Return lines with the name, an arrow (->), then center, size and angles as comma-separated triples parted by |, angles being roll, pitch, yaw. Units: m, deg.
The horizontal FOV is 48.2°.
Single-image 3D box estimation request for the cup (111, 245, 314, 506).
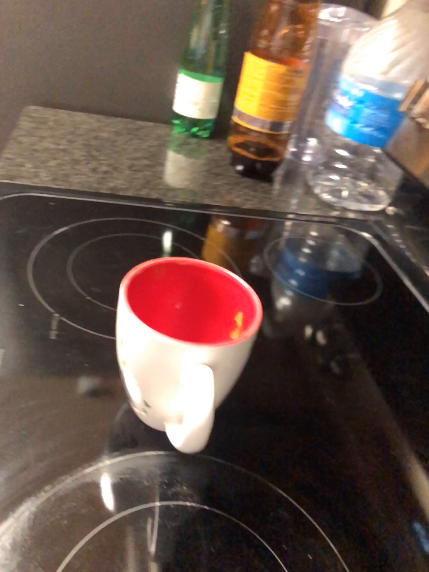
cup -> -0.016, 0.055, 0.333 | 0.100, 0.100, 0.140 | 3, 36, -15
